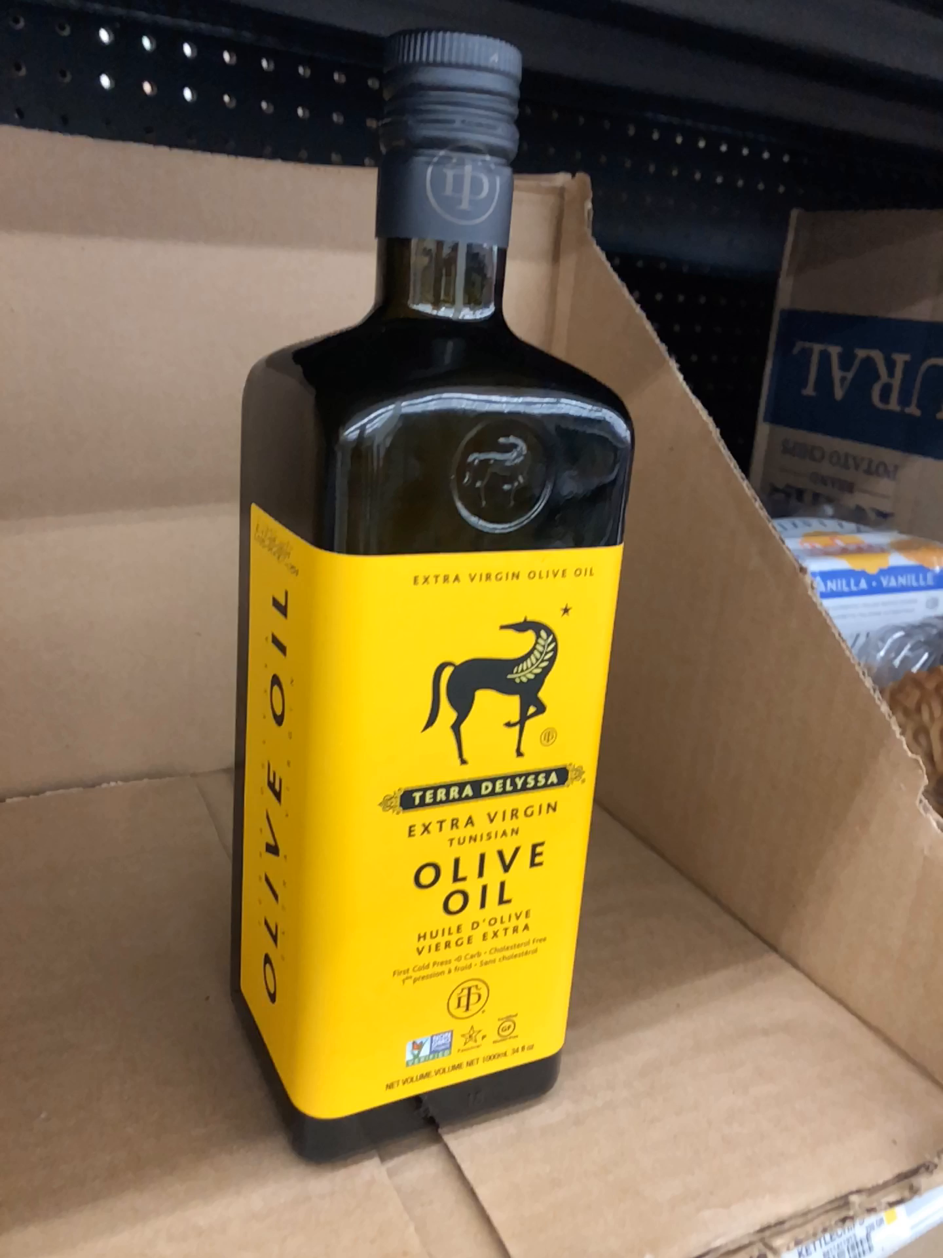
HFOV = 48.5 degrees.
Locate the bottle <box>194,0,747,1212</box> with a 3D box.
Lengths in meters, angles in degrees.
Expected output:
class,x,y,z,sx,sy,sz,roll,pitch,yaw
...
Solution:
class,x,y,z,sx,sy,sz,roll,pitch,yaw
bottle,-0.018,-0.006,0.277,0.090,0.288,0.090,5,19,-2
